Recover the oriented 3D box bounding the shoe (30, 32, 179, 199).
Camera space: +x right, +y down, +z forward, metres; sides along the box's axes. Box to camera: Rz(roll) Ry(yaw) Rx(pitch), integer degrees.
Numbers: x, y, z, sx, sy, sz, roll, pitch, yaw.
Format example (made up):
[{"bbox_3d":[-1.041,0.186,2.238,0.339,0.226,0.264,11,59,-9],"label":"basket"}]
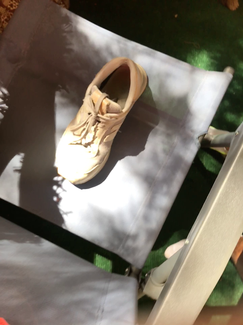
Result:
[{"bbox_3d":[-0.026,-0.087,0.522,0.124,0.104,0.287,33,76,2],"label":"shoe"}]
